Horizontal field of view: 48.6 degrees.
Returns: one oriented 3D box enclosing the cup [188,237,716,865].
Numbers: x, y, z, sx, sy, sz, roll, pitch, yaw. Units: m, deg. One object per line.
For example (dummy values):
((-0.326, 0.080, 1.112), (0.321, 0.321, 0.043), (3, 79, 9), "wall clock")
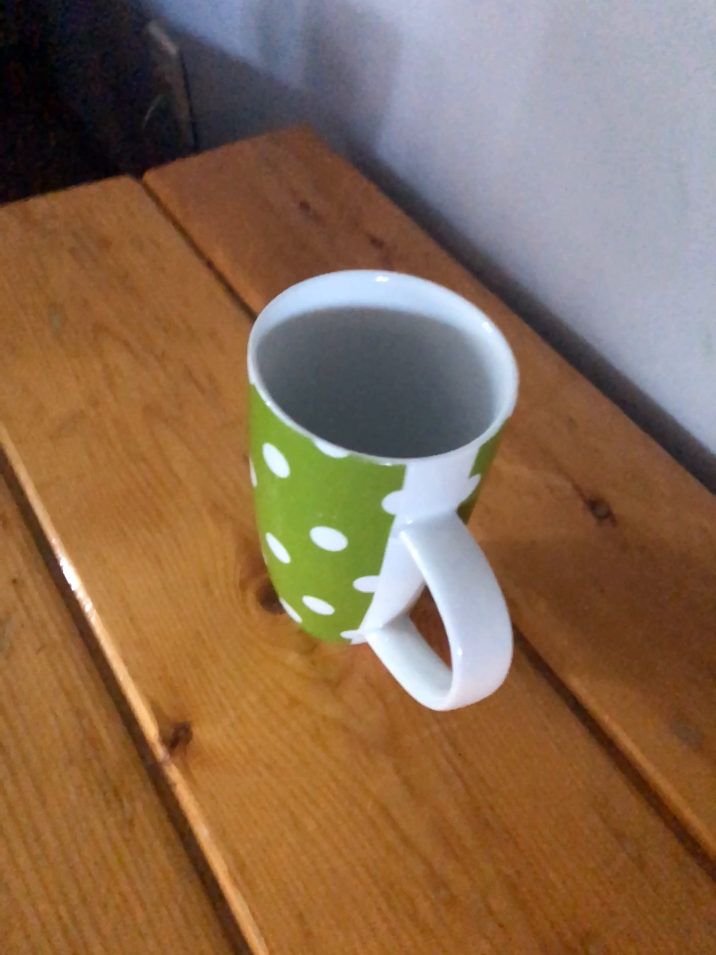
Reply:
((0.018, 0.028, 0.292), (0.100, 0.150, 0.150), (-19, 56, -17), "cup")
